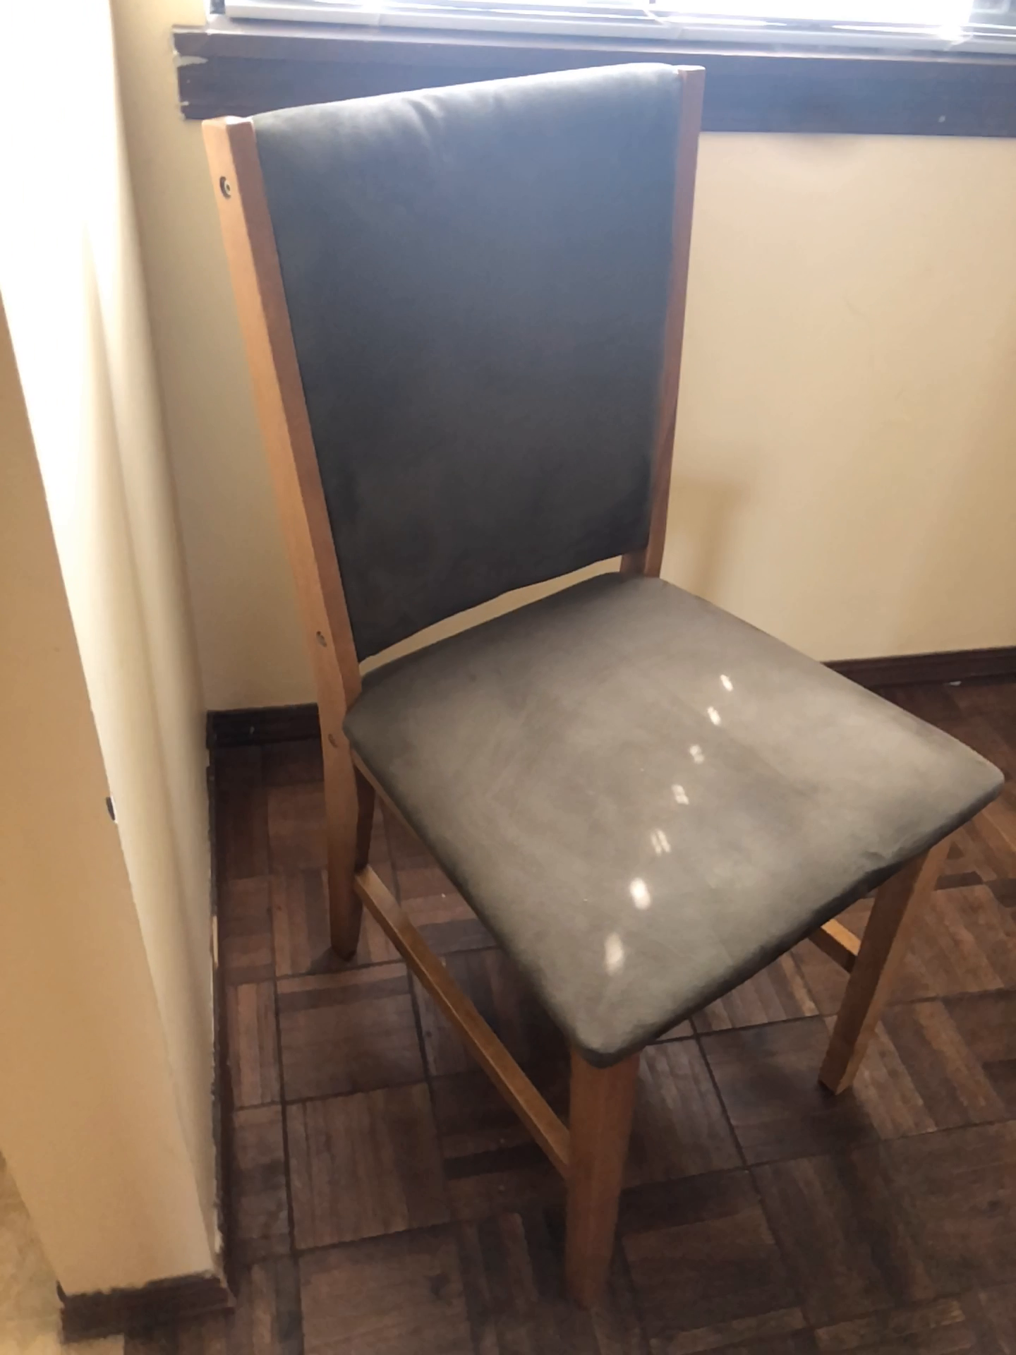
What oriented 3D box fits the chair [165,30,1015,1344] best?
[{"bbox_3d":[0.115,-0.006,0.945,0.491,0.858,0.510,-24,44,-31],"label":"chair"}]
